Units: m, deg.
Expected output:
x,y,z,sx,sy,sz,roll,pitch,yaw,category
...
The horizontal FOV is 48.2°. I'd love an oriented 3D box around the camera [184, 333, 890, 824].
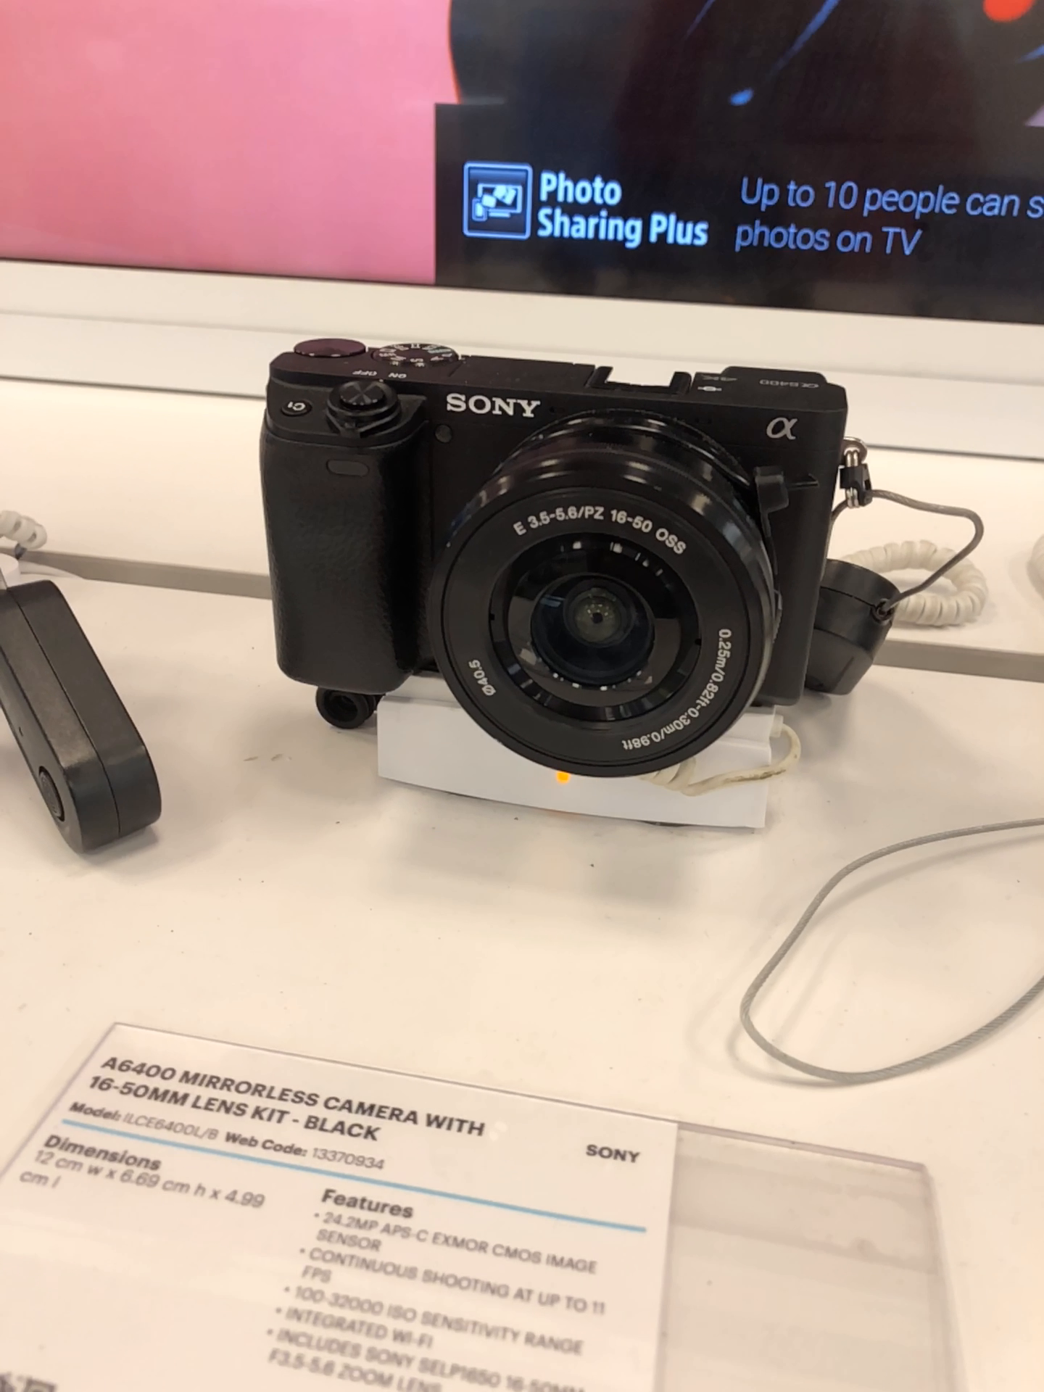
x,y,z,sx,sy,sz,roll,pitch,yaw,category
0.005,-0.029,0.242,0.120,0.070,0.070,6,28,8,camera
